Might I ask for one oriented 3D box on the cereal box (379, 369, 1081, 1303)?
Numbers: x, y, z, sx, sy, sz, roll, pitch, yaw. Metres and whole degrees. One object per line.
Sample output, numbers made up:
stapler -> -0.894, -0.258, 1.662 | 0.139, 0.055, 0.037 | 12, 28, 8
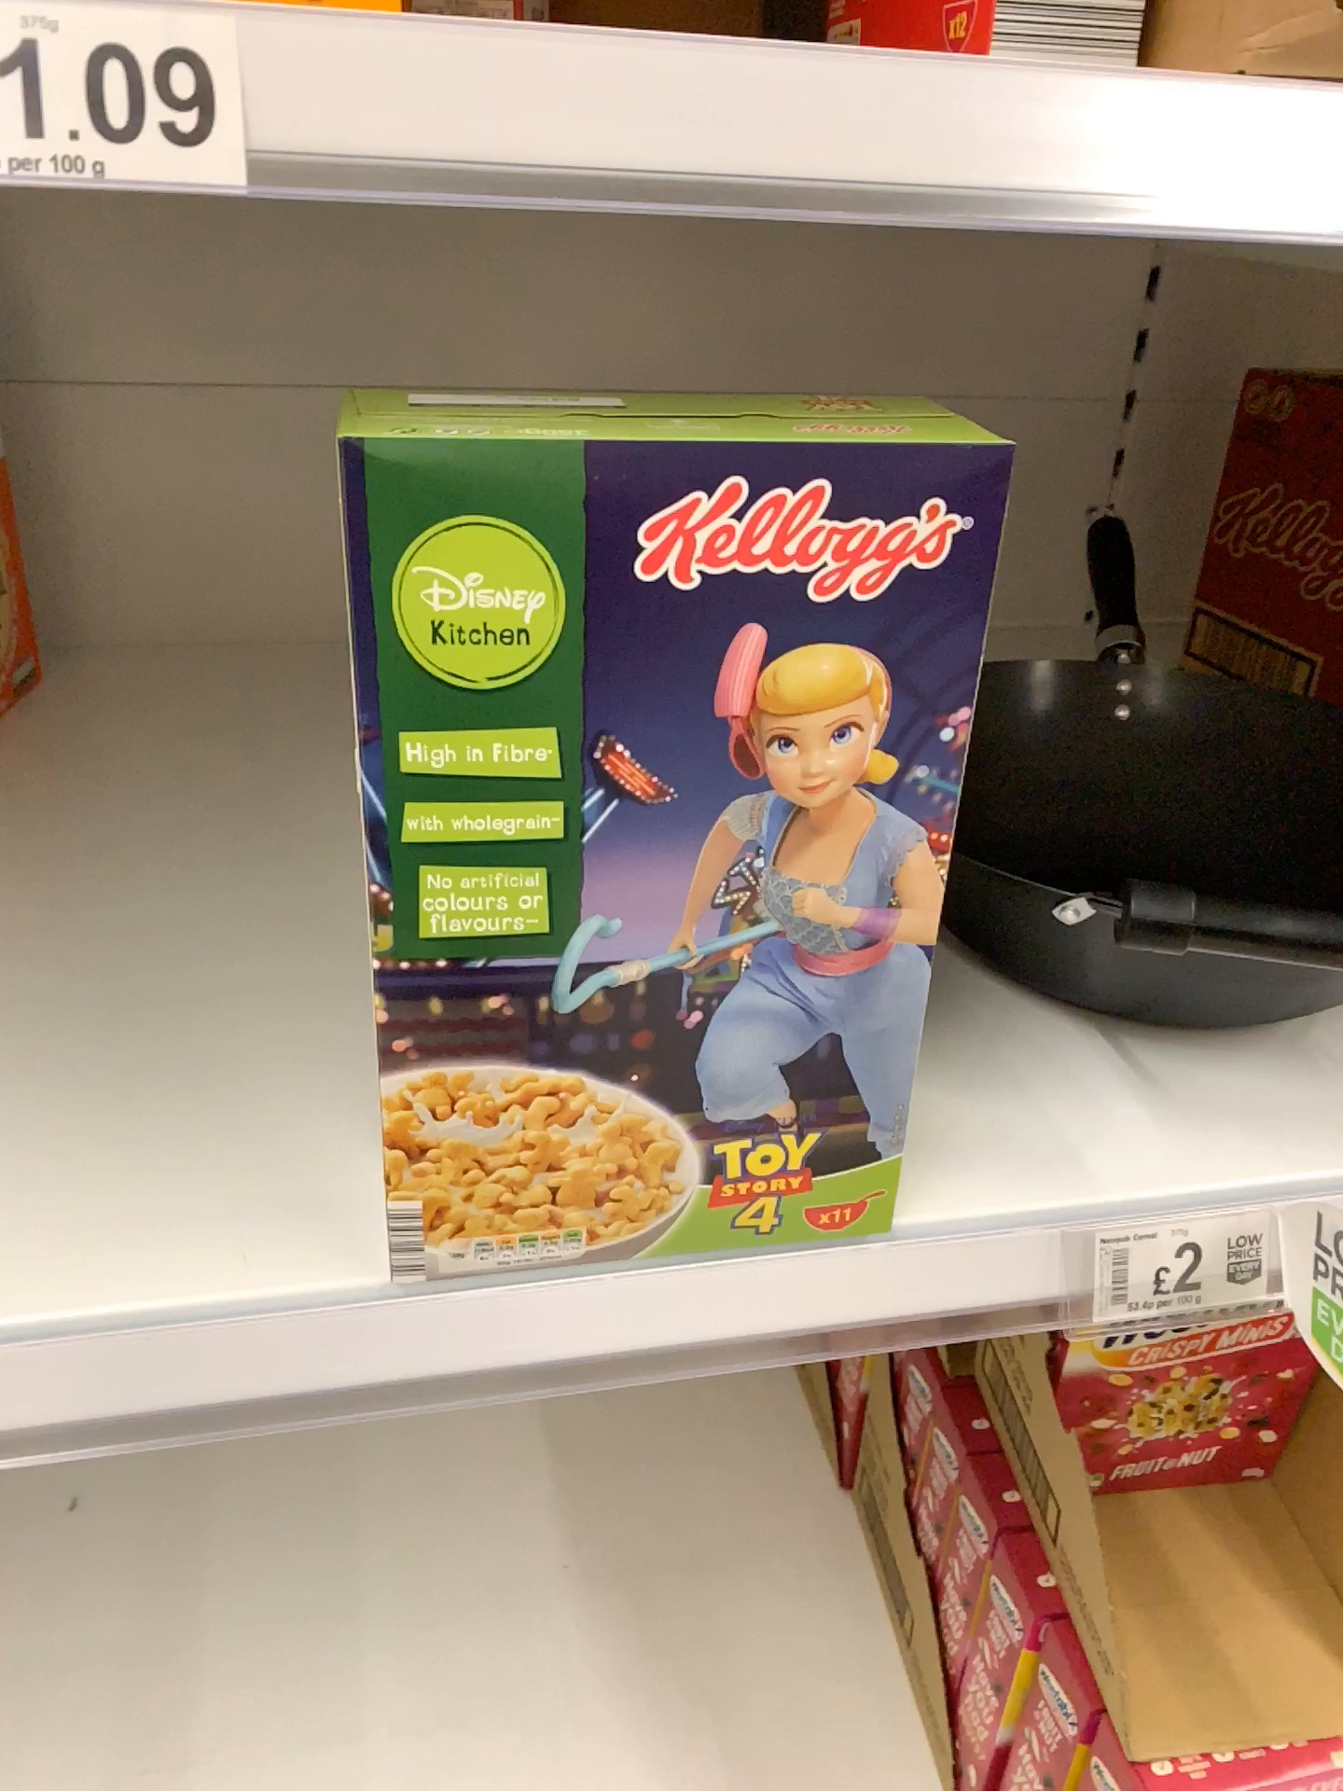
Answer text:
cereal box -> 0.005, -0.012, 0.467 | 0.190, 0.297, 0.081 | -2, 28, -11
